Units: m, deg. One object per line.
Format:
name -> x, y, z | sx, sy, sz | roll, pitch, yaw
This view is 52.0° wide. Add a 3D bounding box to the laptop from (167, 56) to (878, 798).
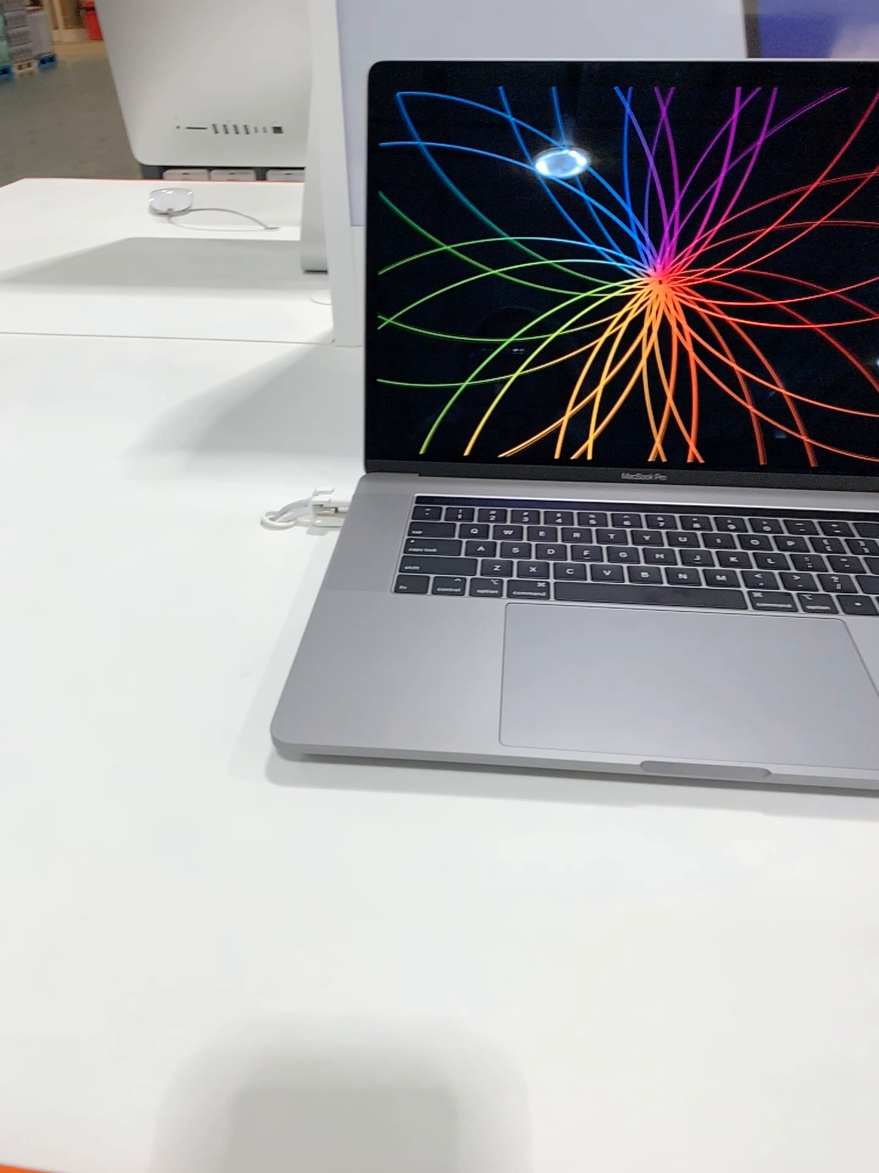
laptop -> 0.109, -0.103, 0.399 | 0.330, 0.205, 0.304 | 3, 34, 4
